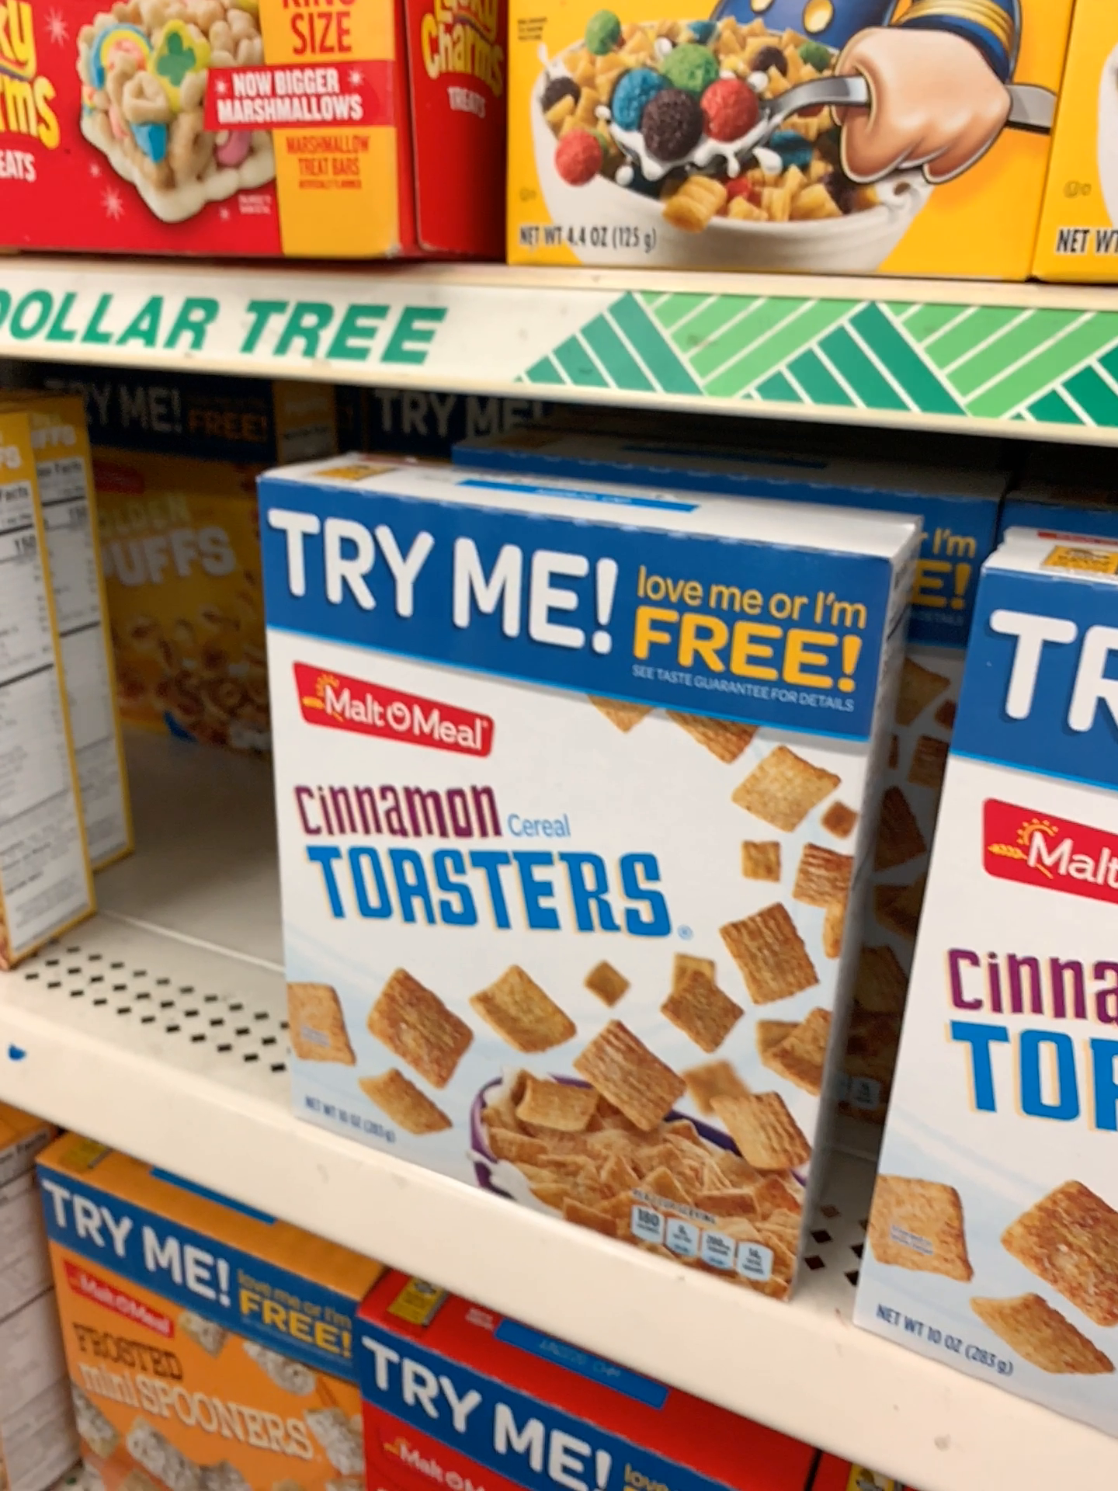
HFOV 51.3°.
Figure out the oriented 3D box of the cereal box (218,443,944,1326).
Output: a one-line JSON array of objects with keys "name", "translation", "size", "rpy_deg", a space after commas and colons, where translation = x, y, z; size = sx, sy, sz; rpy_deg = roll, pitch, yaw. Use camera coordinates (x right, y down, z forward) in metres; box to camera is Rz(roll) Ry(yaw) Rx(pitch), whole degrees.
[{"name": "cereal box", "translation": [-0.002, 0.035, 0.324], "size": [0.170, 0.209, 0.050], "rpy_deg": [12, 25, 21]}]
